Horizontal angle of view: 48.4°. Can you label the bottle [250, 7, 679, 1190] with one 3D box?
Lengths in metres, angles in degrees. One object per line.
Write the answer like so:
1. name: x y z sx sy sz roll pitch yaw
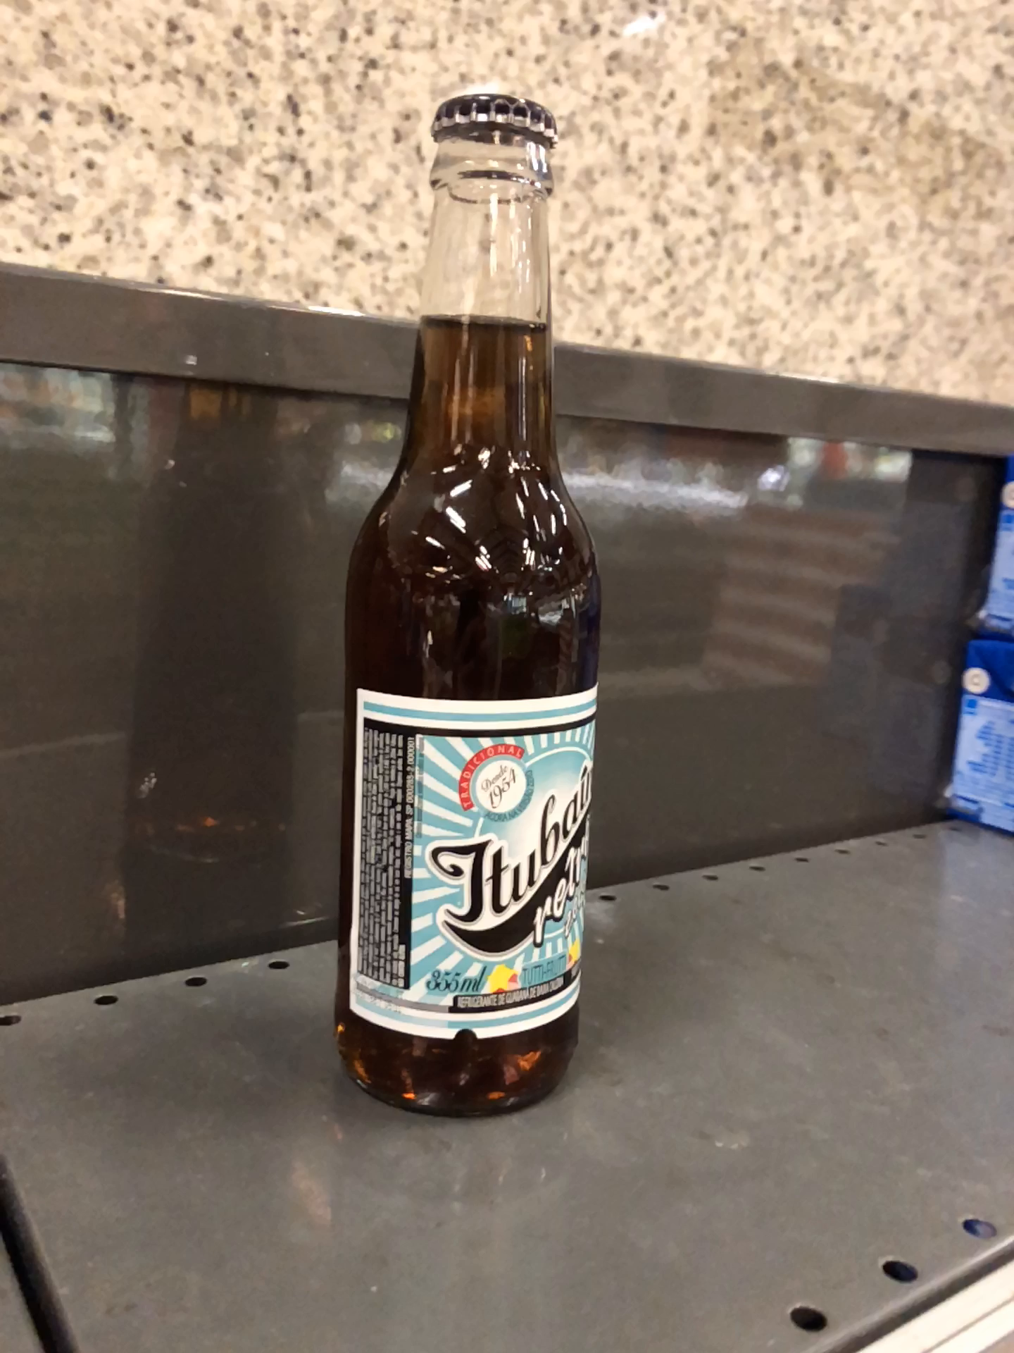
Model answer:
1. bottle: -0.013 -0.012 0.269 0.050 0.239 0.070 14 14 42
